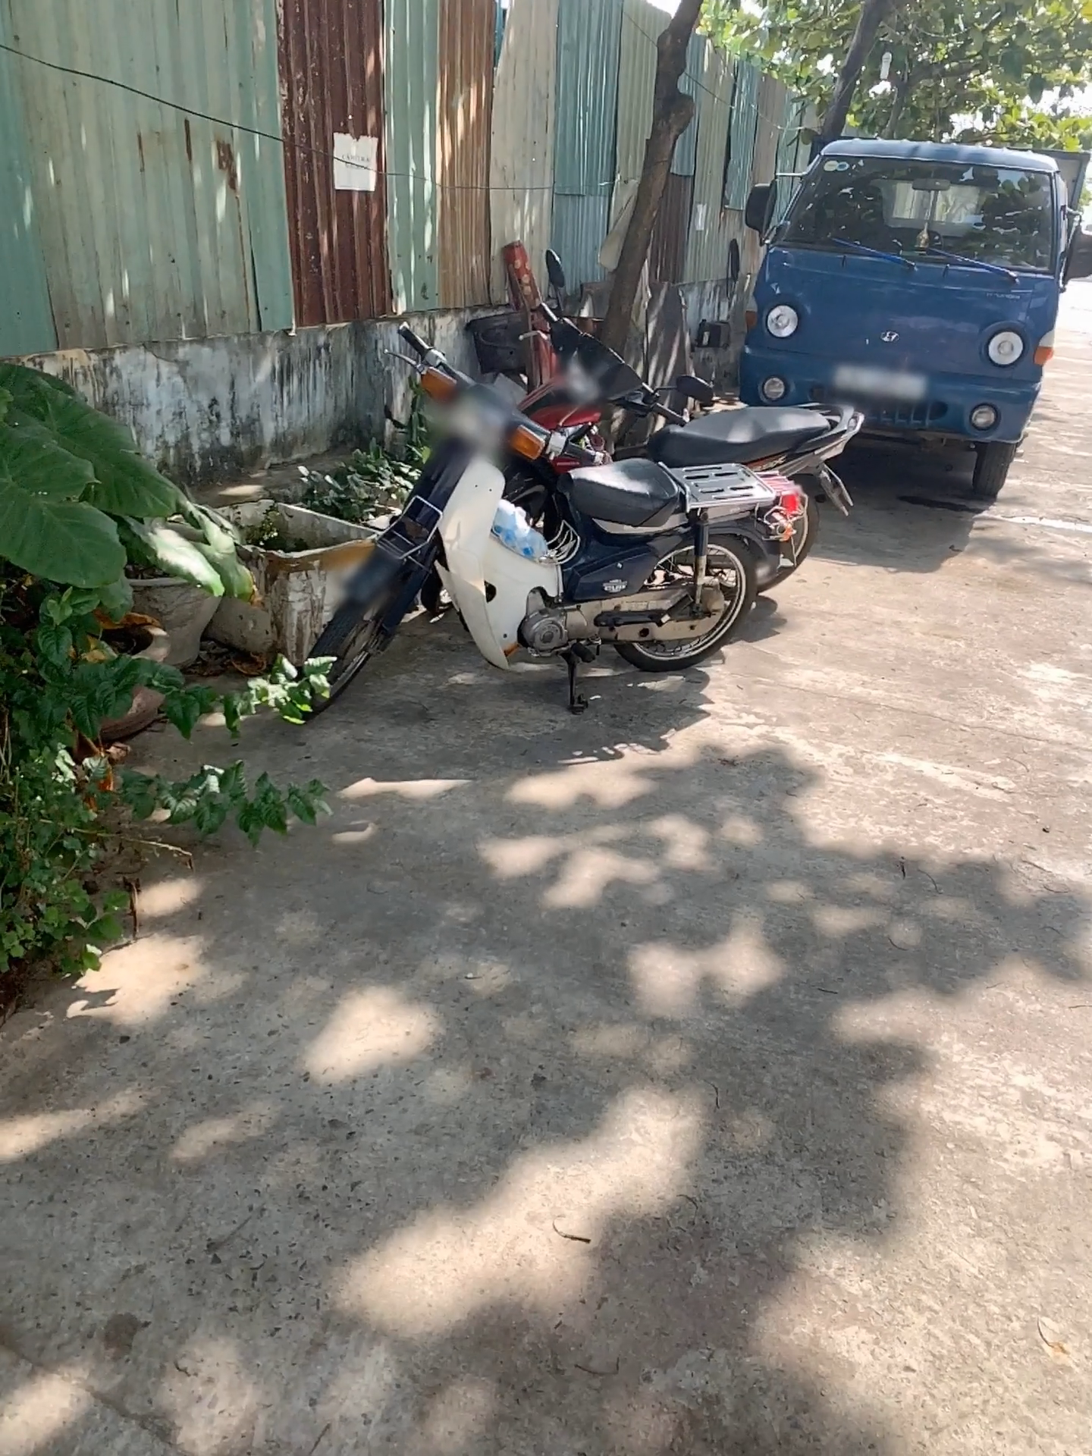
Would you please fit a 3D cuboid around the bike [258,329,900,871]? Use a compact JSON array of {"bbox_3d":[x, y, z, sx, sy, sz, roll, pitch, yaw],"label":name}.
[{"bbox_3d":[0.085,-0.436,2.963,1.478,1.024,0.654,-15,31,-30],"label":"bike"}]
